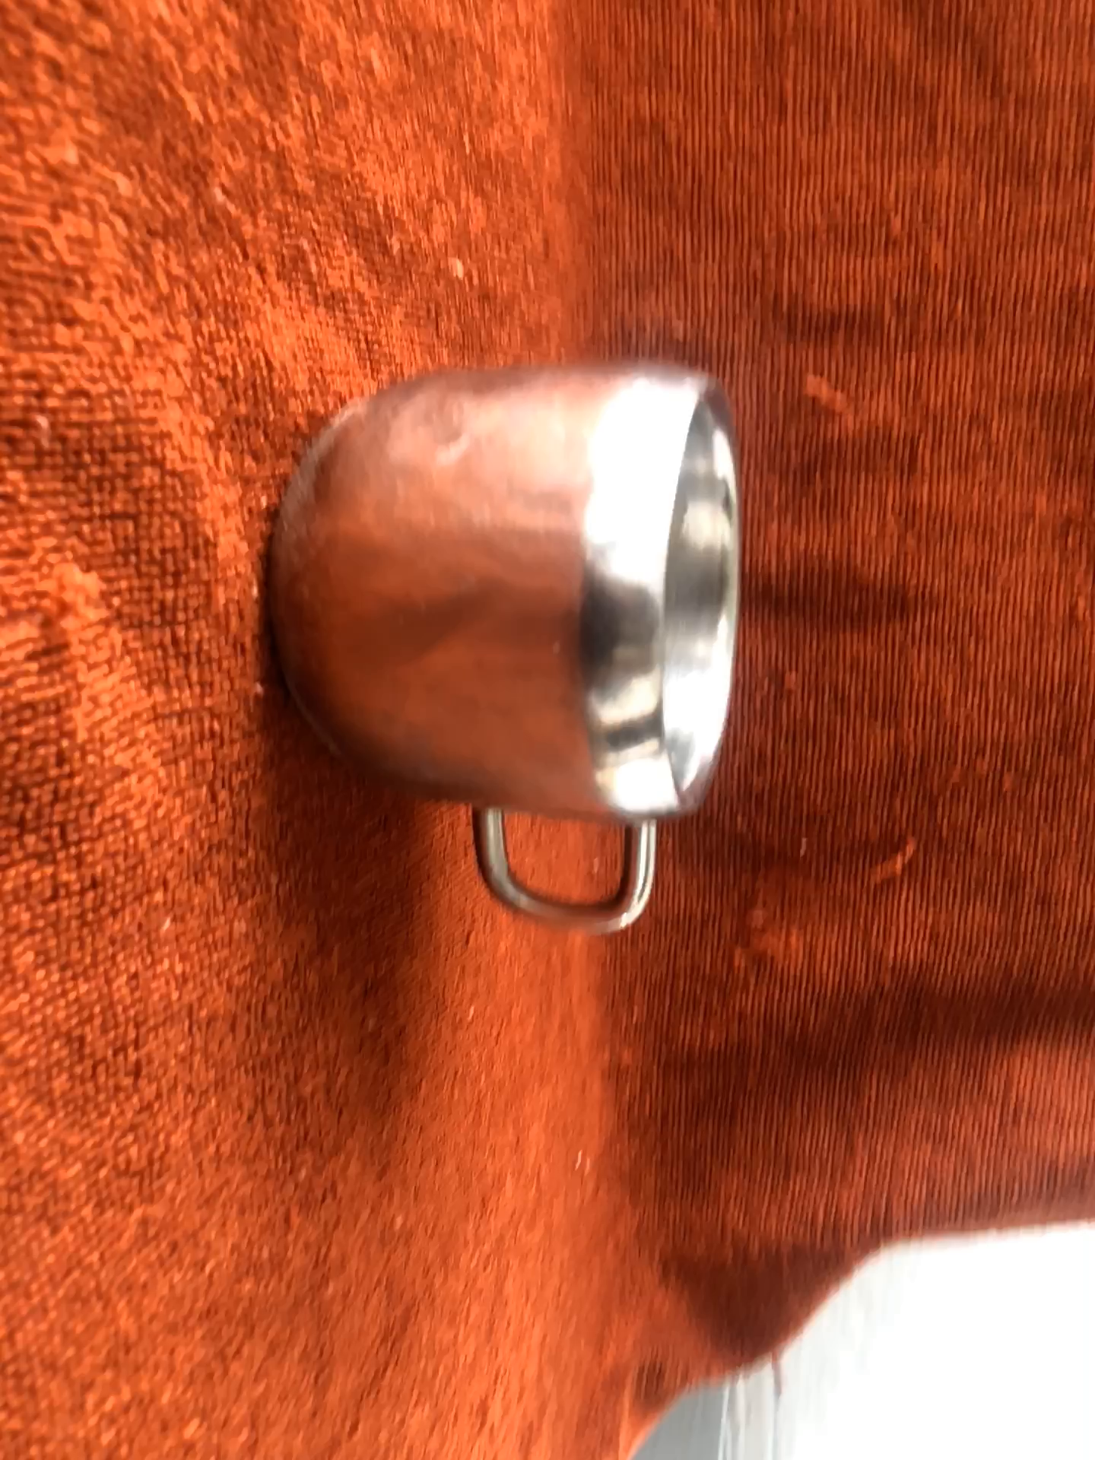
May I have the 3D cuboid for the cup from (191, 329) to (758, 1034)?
[{"bbox_3d":[-0.002,-0.009,0.196,0.060,0.060,0.090,-64,152,-49],"label":"cup"}]
